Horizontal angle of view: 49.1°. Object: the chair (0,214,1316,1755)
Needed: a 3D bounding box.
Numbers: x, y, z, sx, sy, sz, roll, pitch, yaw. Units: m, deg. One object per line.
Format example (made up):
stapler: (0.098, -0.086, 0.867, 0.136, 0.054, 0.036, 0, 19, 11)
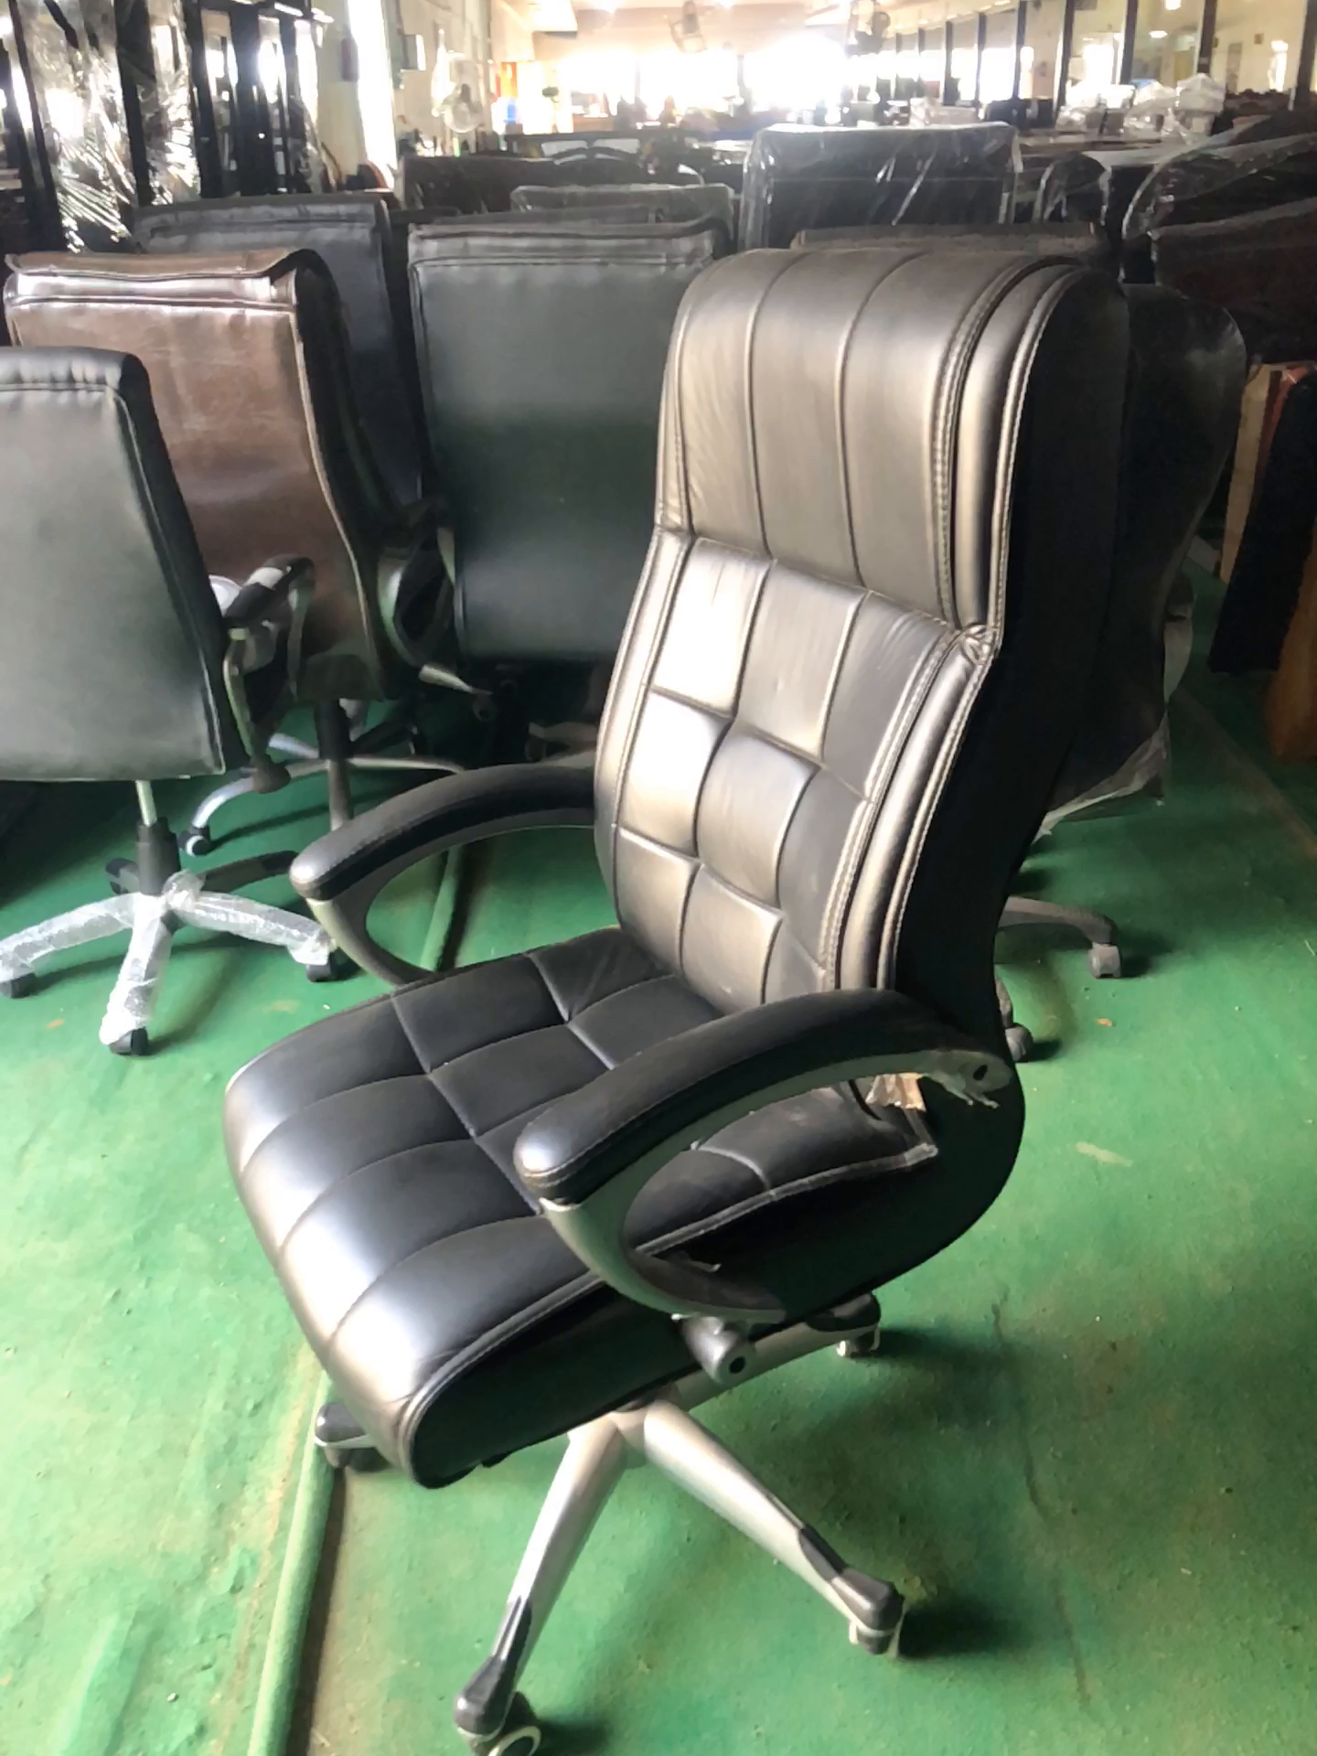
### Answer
chair: (0.022, 0.079, 1.377, 0.832, 1.224, 0.812, -17, 32, -27)
